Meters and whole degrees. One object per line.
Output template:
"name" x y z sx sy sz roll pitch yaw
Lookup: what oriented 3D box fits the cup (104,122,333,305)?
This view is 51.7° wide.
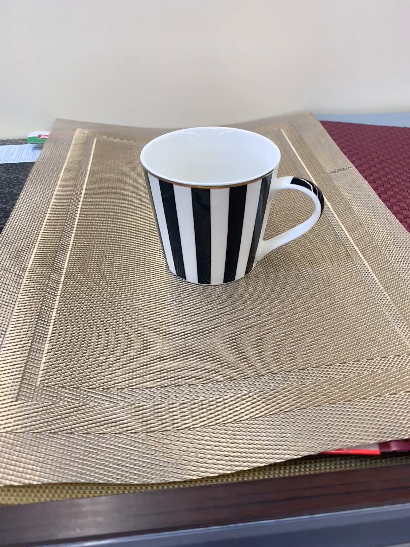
"cup" 0.015 -0.052 0.311 0.130 0.080 0.100 11 37 18
